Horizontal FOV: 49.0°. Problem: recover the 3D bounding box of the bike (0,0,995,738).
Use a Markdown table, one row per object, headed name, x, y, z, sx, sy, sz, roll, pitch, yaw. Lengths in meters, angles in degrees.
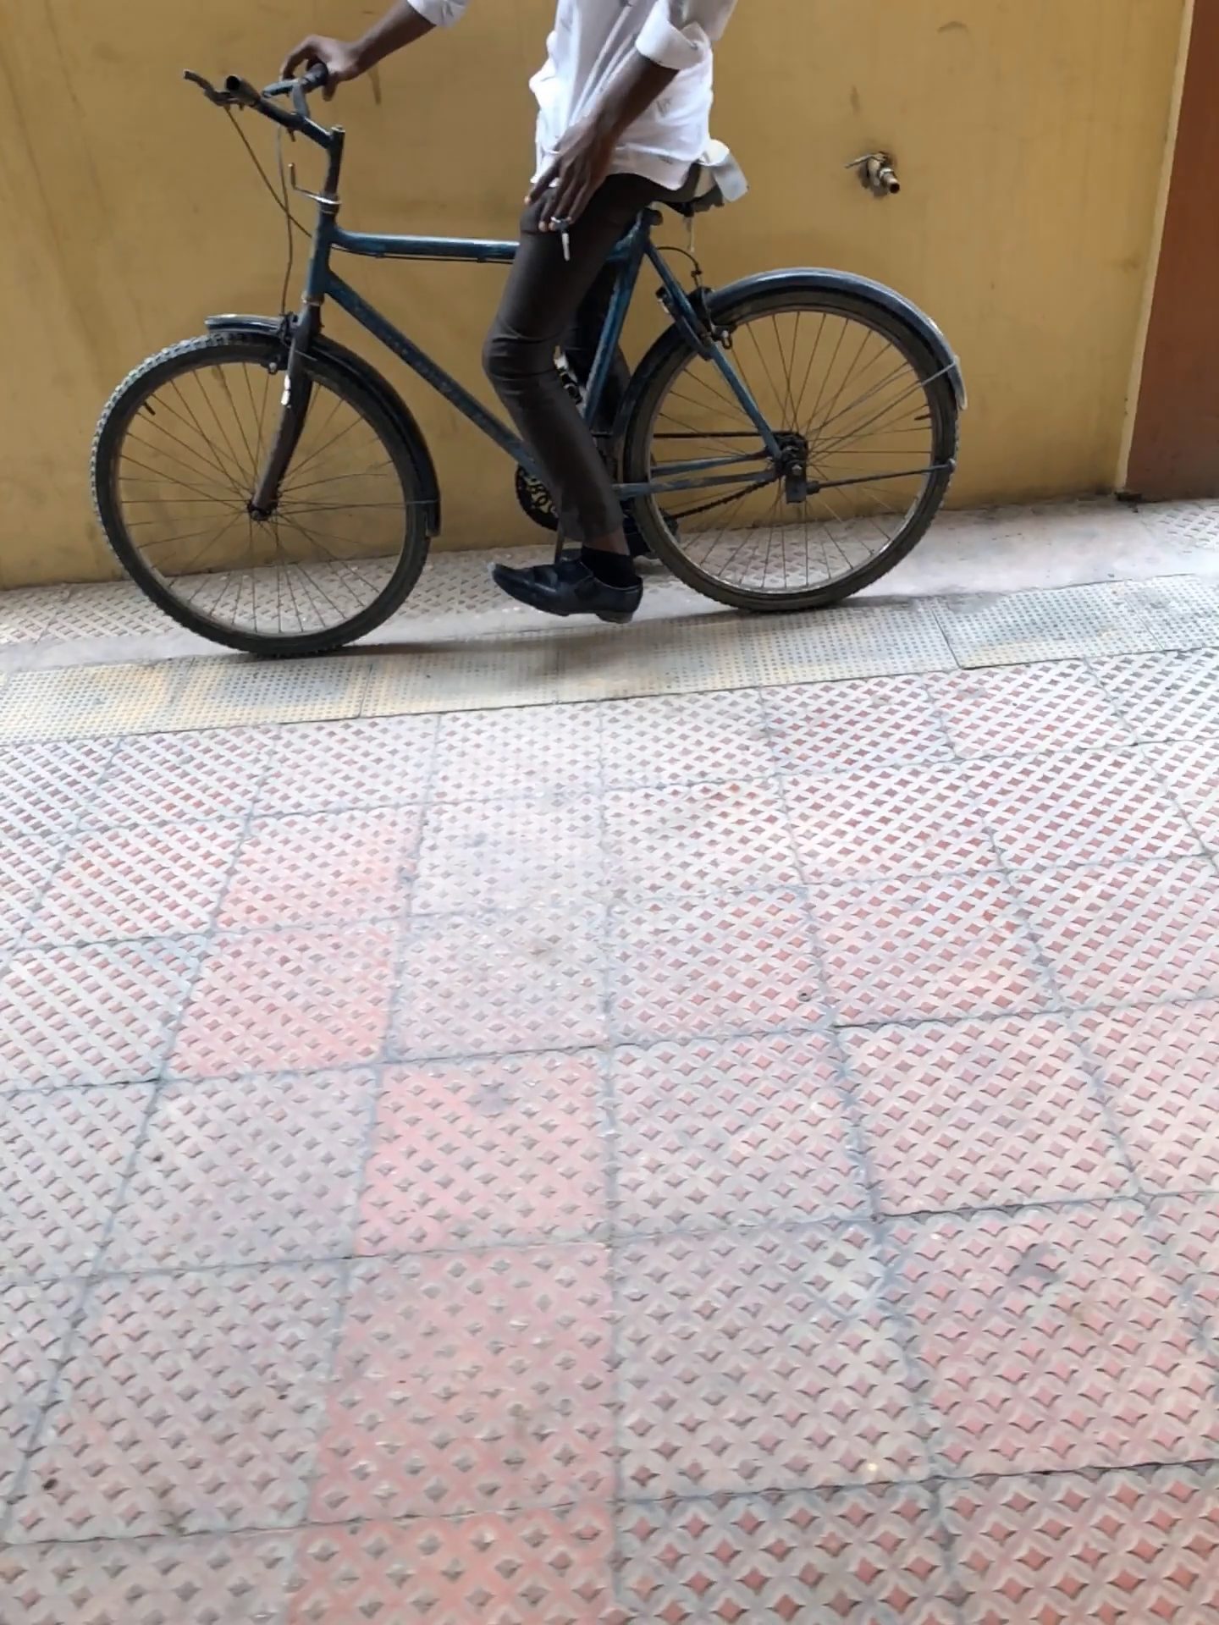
| name | x | y | z | sx | sy | sz | roll | pitch | yaw |
| --- | --- | --- | --- | --- | --- | --- | --- | --- | --- |
| bike | -0.200 | -0.745 | 2.245 | 1.572 | 1.024 | 0.592 | -2 | 36 | 1 |
